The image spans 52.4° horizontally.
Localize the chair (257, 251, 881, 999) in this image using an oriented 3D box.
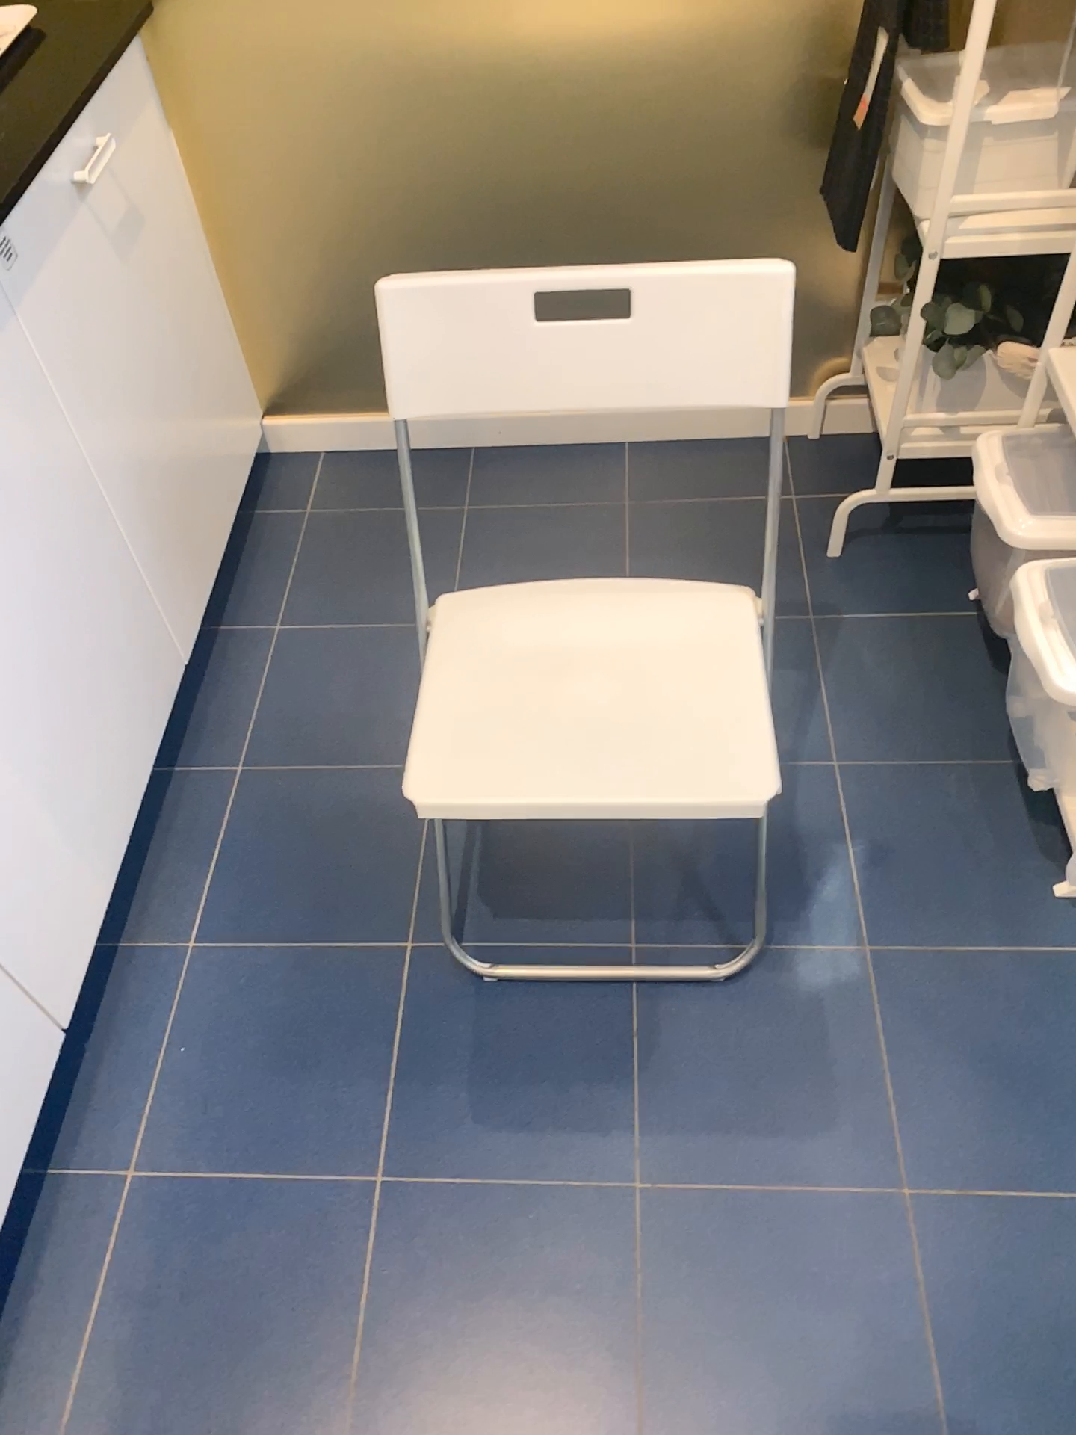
[{"bbox_3d":[0.053,-0.056,1.220,0.460,0.708,0.451,0,50,5],"label":"chair"}]
